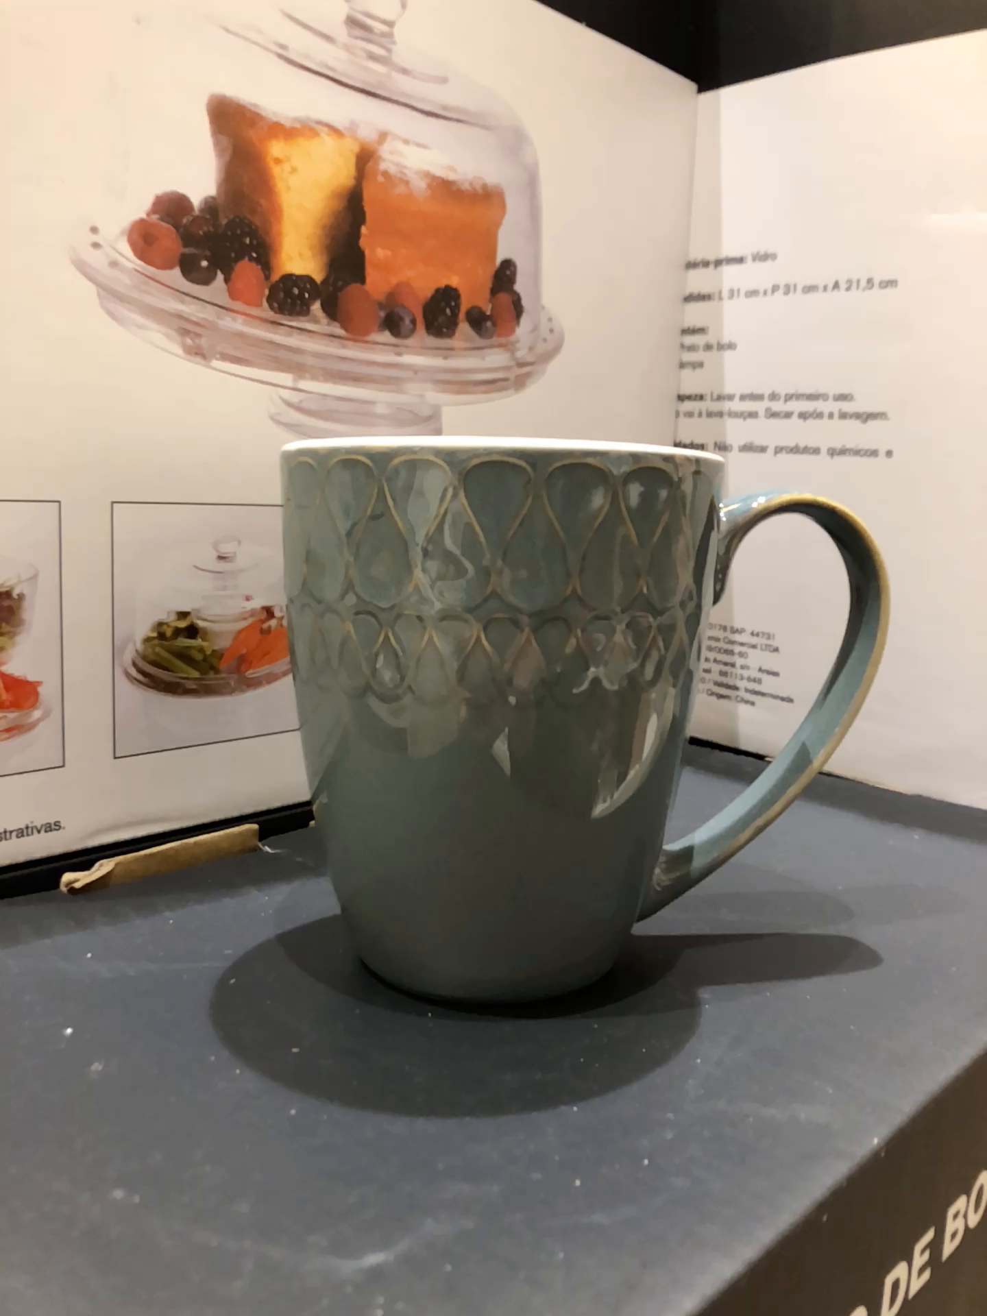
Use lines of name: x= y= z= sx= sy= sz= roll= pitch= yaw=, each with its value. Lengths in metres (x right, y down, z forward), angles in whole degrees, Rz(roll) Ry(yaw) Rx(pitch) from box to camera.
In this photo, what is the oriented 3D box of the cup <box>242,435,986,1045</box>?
cup: x=0.019 y=0.006 z=0.241 sx=0.130 sy=0.100 sz=0.090 roll=-1 pitch=10 yaw=-22
